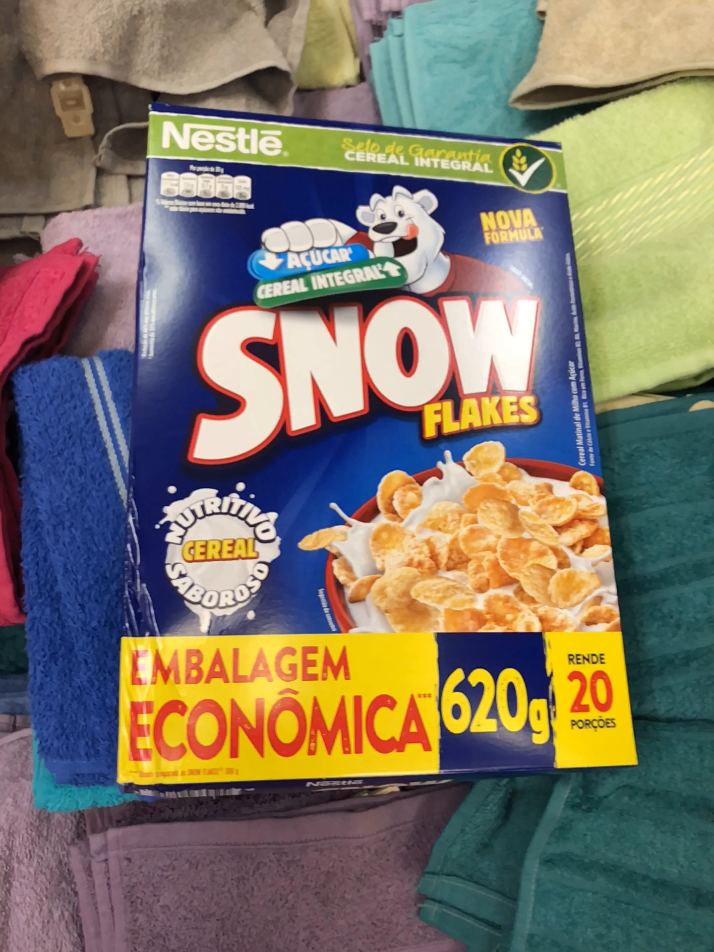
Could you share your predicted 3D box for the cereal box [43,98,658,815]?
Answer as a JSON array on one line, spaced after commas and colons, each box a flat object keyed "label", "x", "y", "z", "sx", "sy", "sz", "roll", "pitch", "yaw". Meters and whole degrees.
[{"label": "cereal box", "x": -0.004, "y": -0.016, "z": 0.361, "sx": 0.220, "sy": 0.070, "sz": 0.301, "roll": 1, "pitch": 72, "yaw": -7}]
